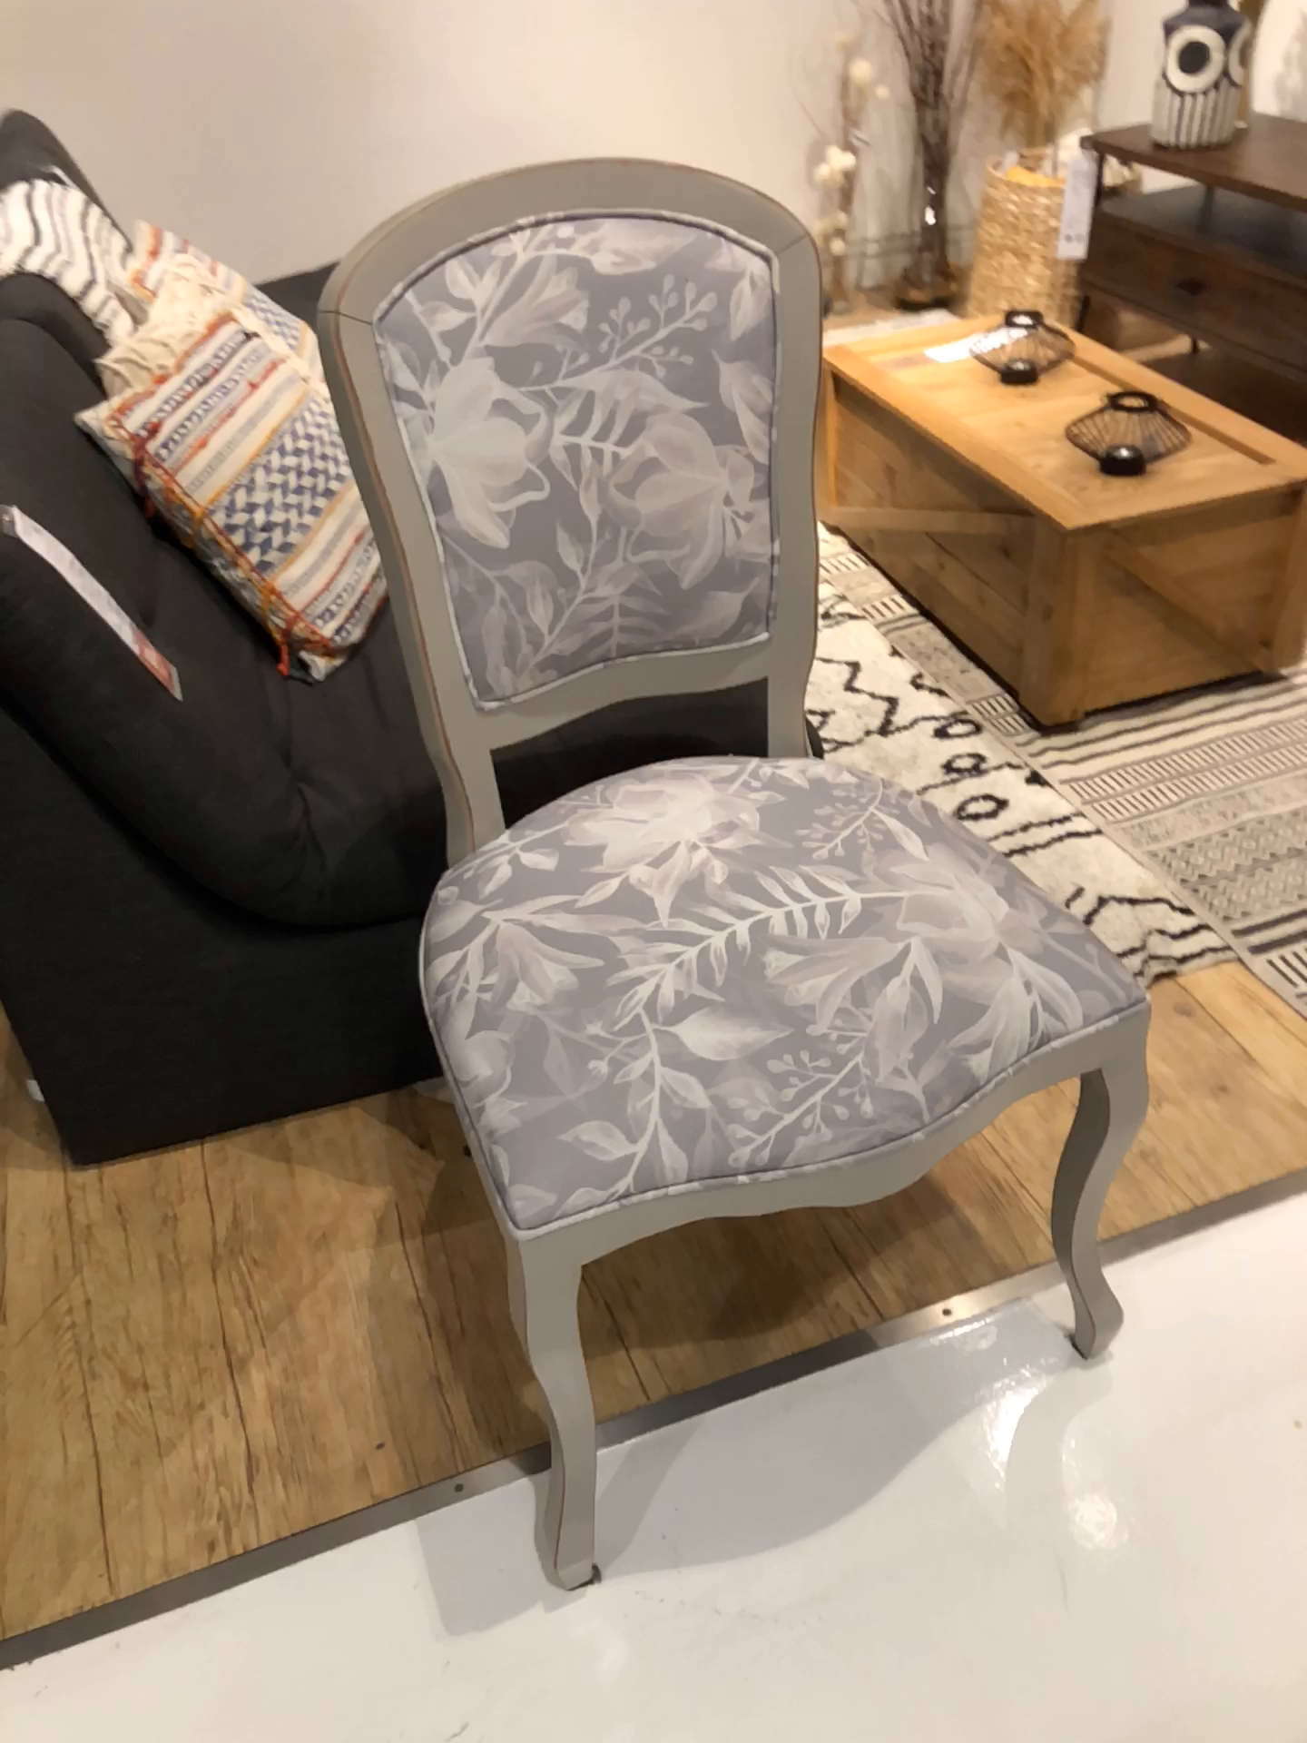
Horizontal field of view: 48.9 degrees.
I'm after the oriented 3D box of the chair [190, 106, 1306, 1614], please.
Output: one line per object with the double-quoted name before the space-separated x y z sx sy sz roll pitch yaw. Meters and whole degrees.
"chair" 0.071 -0.006 1.139 0.571 0.943 0.533 -16 38 -14
